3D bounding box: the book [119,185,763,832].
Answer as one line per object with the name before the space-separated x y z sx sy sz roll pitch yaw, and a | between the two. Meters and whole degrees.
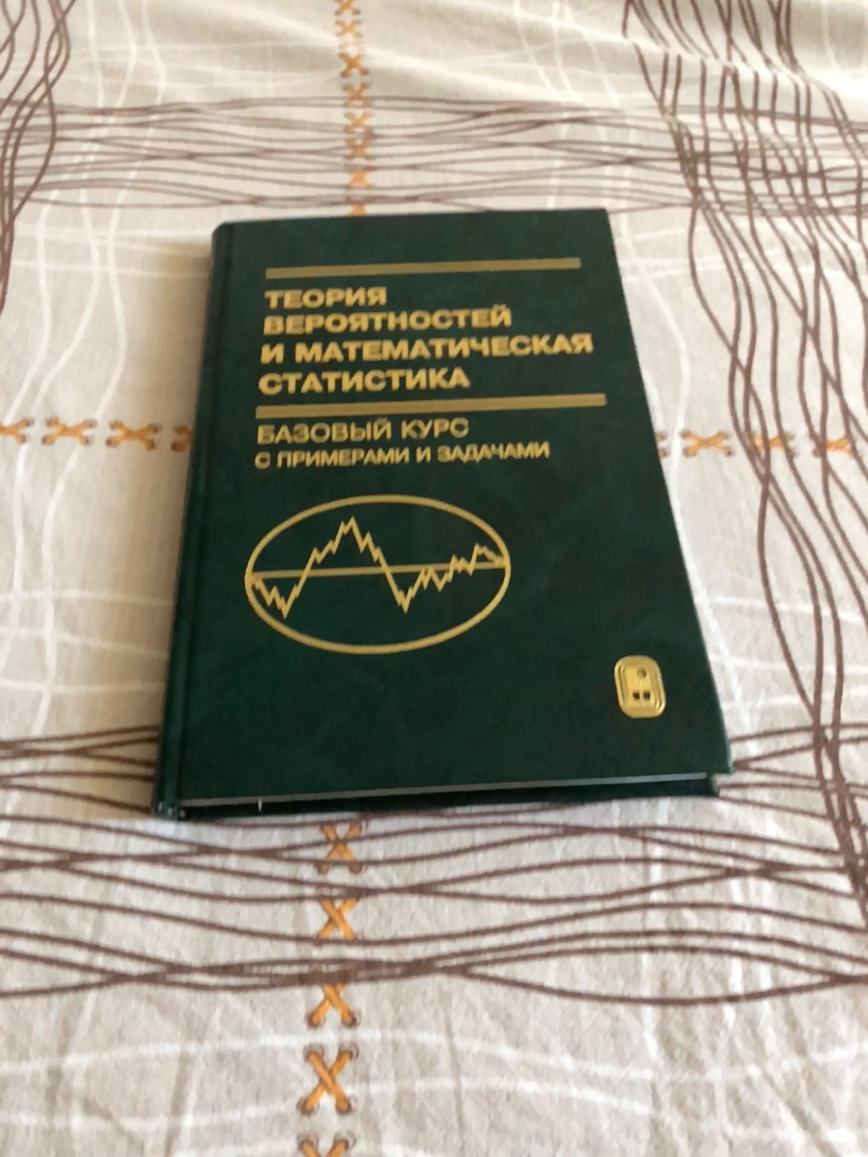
book | -0.003 -0.037 0.296 0.150 0.030 0.218 -2 58 -2
